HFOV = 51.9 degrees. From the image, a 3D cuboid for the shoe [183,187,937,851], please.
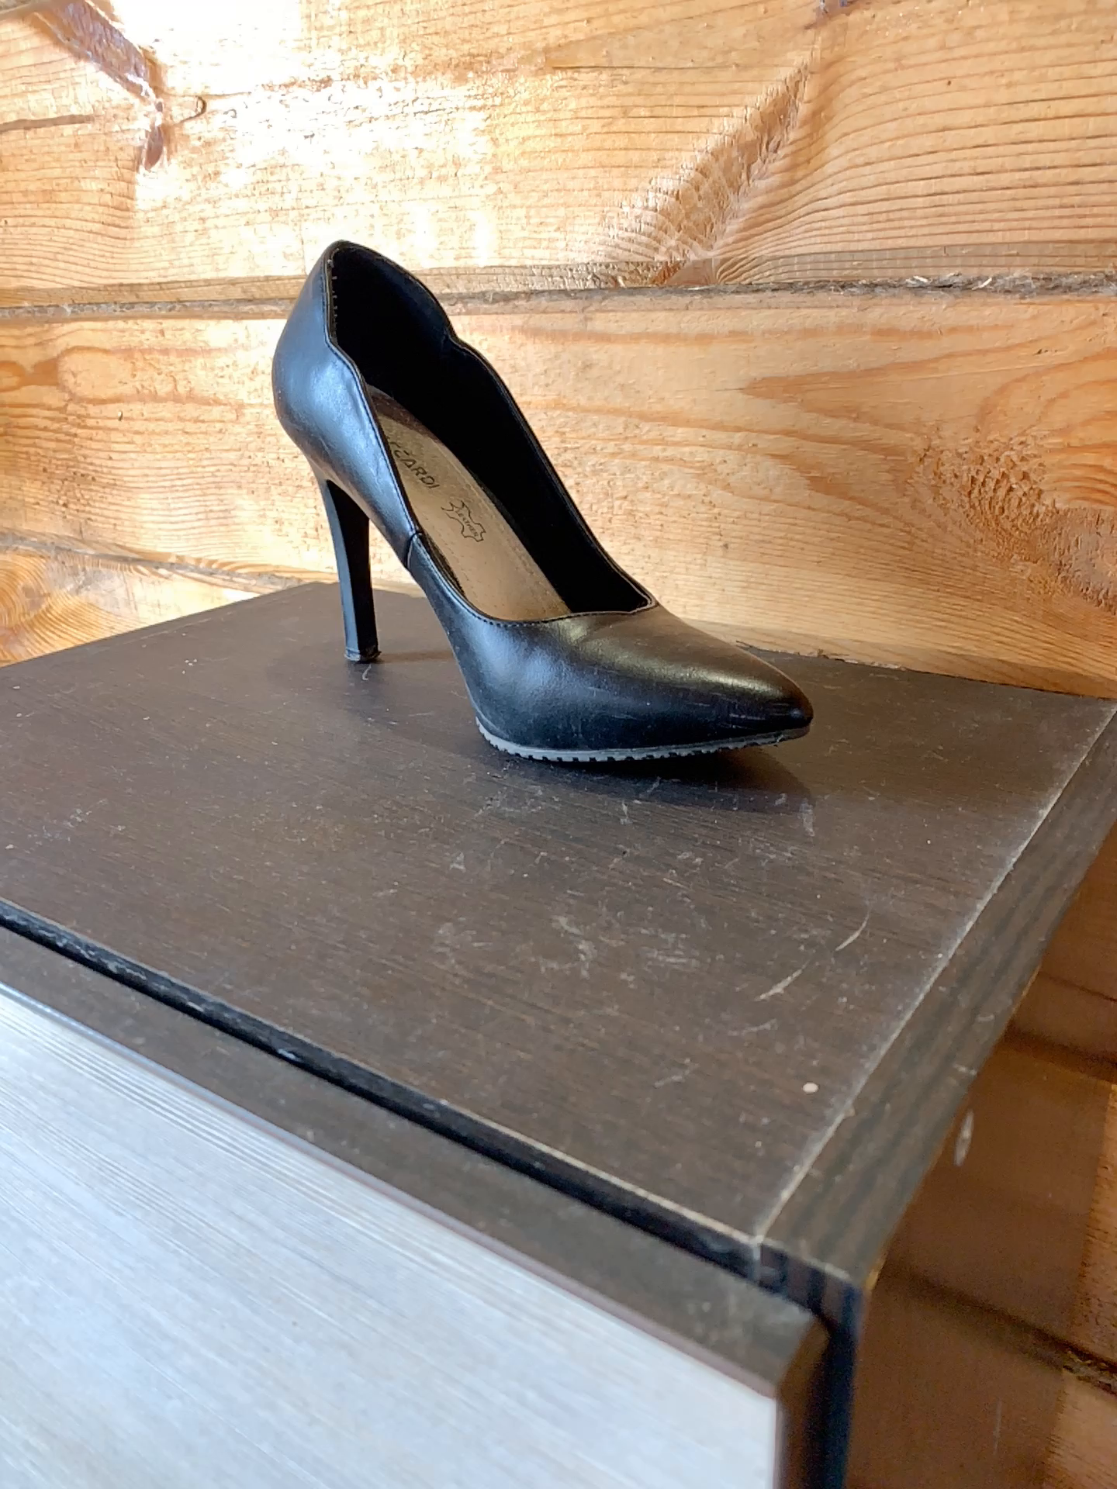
[{"bbox_3d":[-0.012,-0.083,0.367,0.100,0.149,0.221,-19,27,-41],"label":"shoe"}]
